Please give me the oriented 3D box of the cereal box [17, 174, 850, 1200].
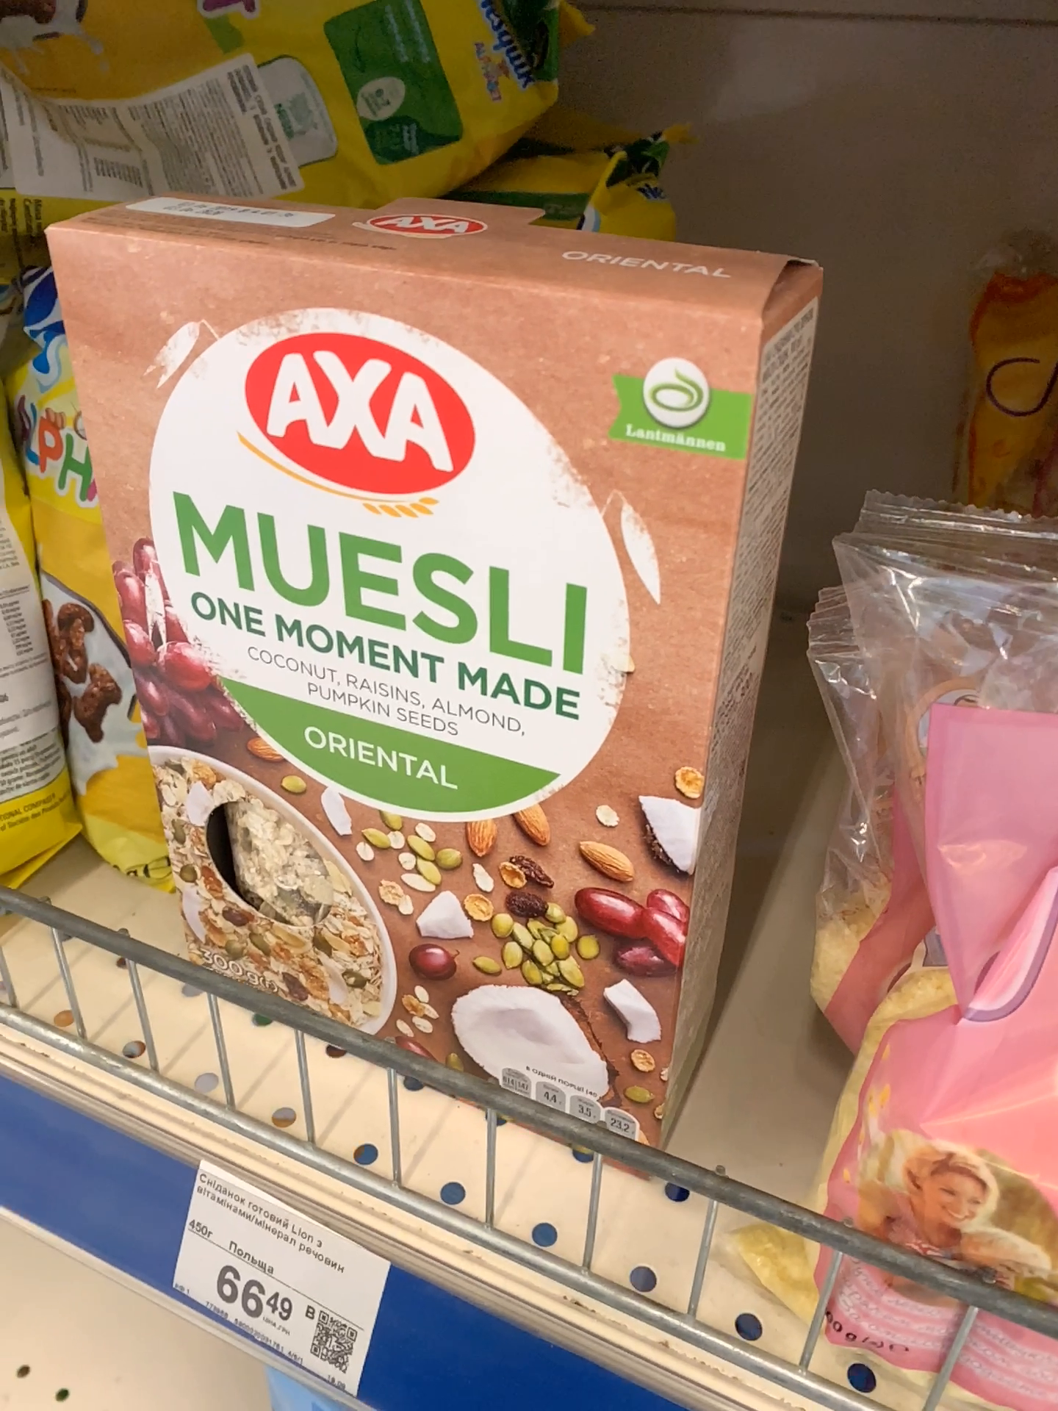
[{"bbox_3d":[-0.022,0.002,0.264,0.150,0.218,0.050,16,36,21],"label":"cereal box"}]
